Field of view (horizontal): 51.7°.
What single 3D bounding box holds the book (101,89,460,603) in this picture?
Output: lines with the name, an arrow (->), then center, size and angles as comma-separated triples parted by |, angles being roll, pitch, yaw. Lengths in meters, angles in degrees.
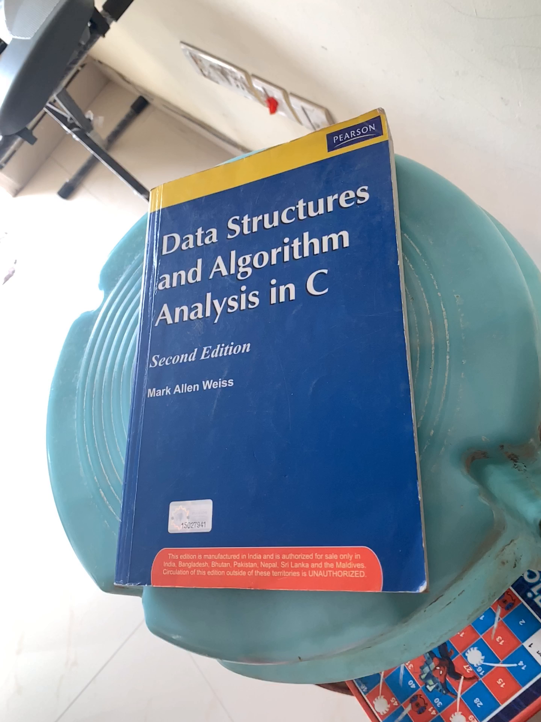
book -> -0.002, -0.009, 0.288 | 0.160, 0.030, 0.241 | -10, 68, 24
